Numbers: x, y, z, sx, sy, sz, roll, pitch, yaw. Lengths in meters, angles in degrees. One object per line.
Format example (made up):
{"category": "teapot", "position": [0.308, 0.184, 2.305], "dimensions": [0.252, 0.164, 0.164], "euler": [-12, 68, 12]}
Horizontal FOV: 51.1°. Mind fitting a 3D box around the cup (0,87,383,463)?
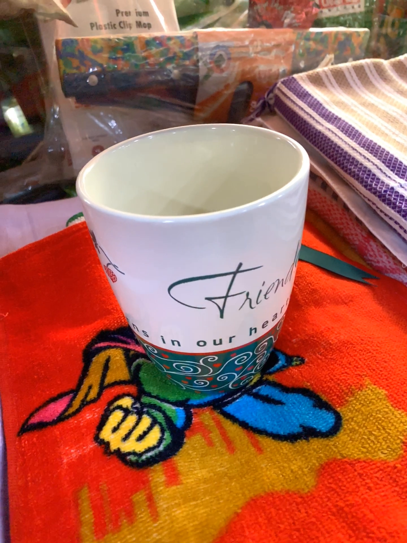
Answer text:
{"category": "cup", "position": [0.002, -0.014, 0.202], "dimensions": [0.100, 0.094, 0.133], "euler": [23, 47, 31]}
